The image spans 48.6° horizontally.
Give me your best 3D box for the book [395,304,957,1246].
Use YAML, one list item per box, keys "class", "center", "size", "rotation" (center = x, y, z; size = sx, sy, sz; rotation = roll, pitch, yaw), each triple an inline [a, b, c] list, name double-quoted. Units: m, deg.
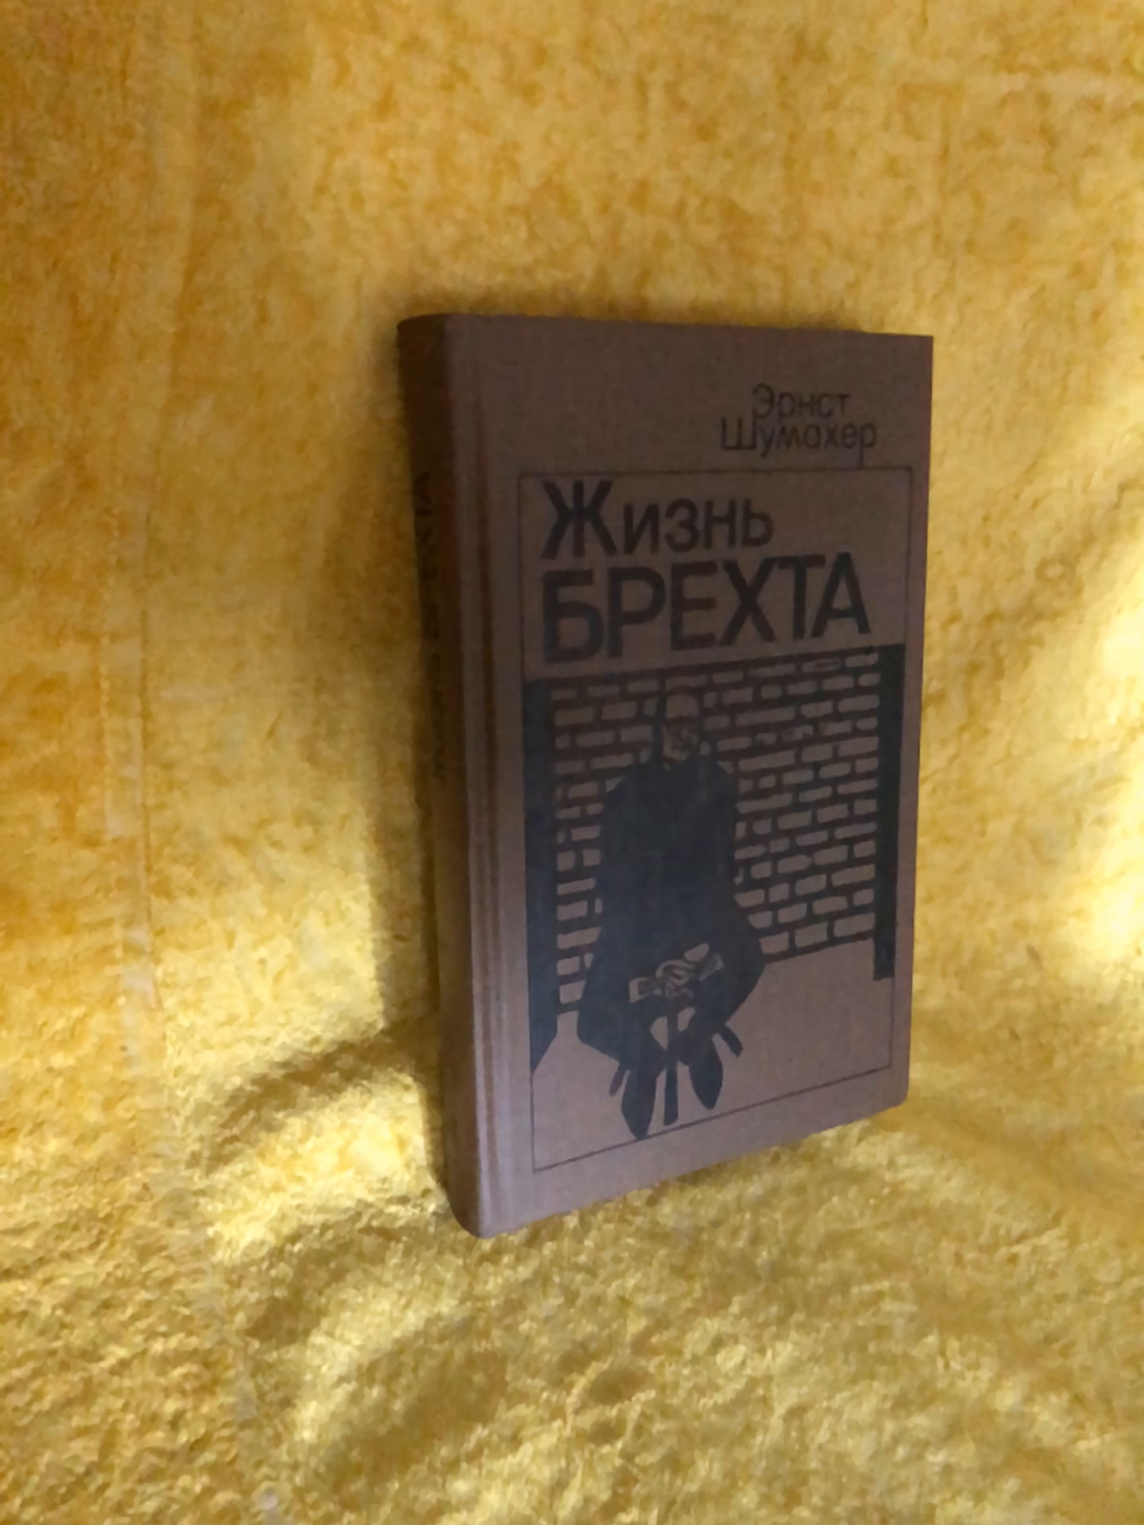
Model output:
- class: "book"
  center: [0.028, 0.000, 0.307]
  size: [0.130, 0.200, 0.033]
  rotation: [-7, 14, -28]
